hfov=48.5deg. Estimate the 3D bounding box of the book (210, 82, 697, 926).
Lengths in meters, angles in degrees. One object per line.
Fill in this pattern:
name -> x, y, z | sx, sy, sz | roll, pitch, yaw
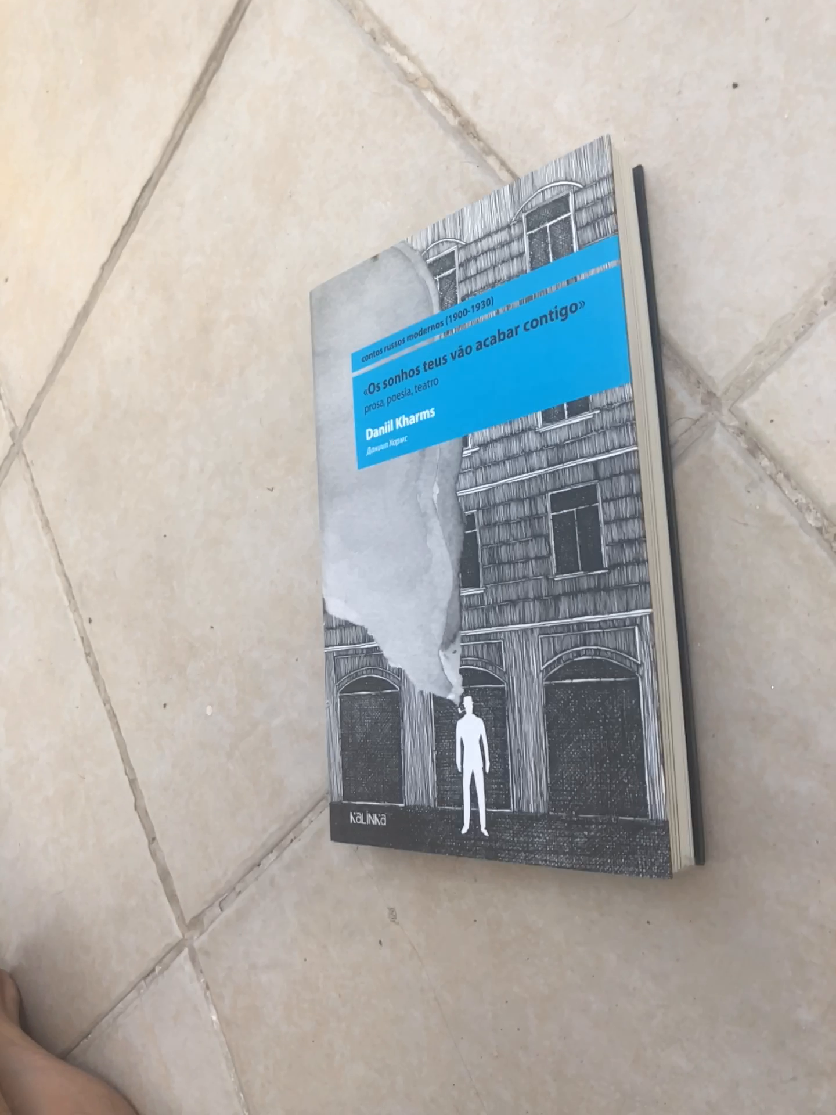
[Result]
book -> -0.001, -0.007, 0.238 | 0.121, 0.040, 0.170 | -11, 78, 43
